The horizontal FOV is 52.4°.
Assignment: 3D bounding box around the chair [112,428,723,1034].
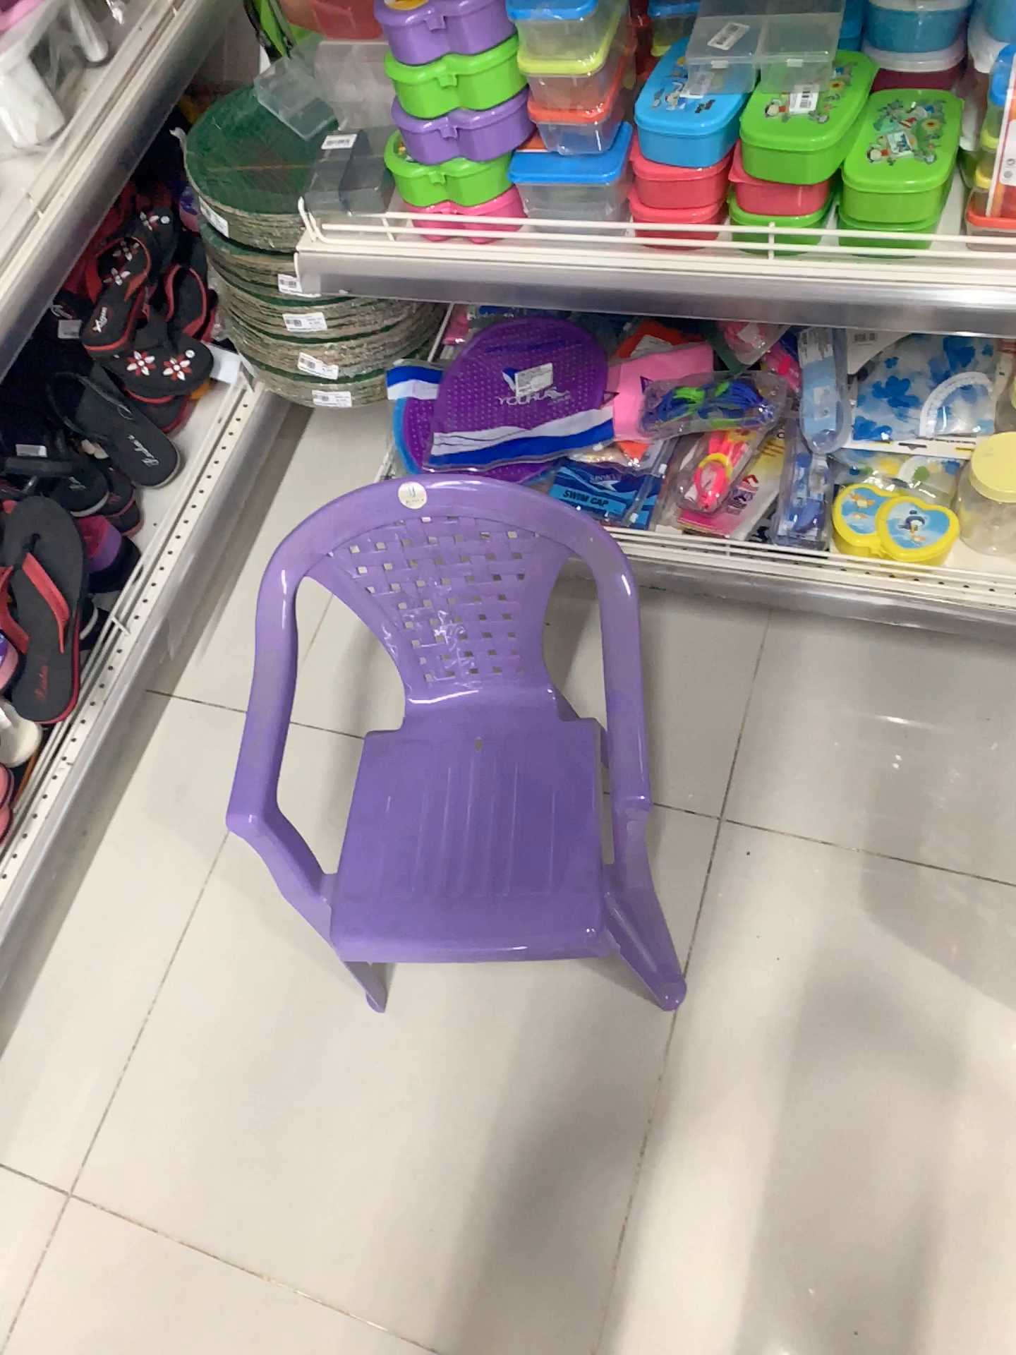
[{"bbox_3d":[-0.036,0.090,0.987,0.420,0.429,0.401,-6,61,11],"label":"chair"}]
